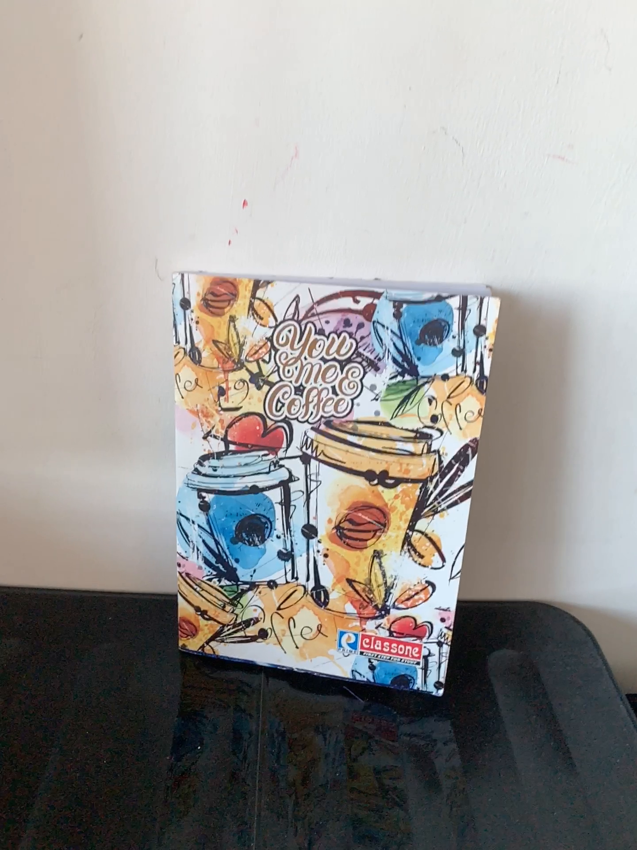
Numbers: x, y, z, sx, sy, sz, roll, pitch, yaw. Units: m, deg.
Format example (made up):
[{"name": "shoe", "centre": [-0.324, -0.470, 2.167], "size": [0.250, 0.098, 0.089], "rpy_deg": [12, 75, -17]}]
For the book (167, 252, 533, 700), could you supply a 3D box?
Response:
[{"name": "book", "centre": [0.008, 0.043, 0.467], "size": [0.220, 0.299, 0.050], "rpy_deg": [6, 20, 5]}]
